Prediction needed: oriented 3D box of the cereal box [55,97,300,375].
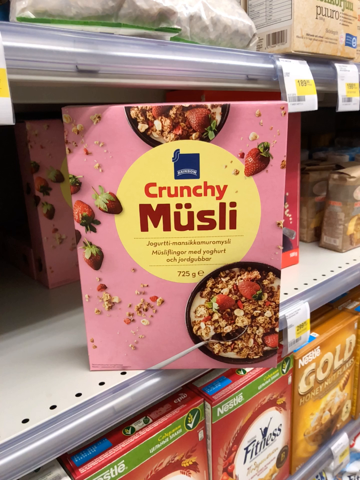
[{"bbox_3d":[0.000,0.001,0.392,0.200,0.259,0.060,-1,17,1],"label":"cereal box"}]
